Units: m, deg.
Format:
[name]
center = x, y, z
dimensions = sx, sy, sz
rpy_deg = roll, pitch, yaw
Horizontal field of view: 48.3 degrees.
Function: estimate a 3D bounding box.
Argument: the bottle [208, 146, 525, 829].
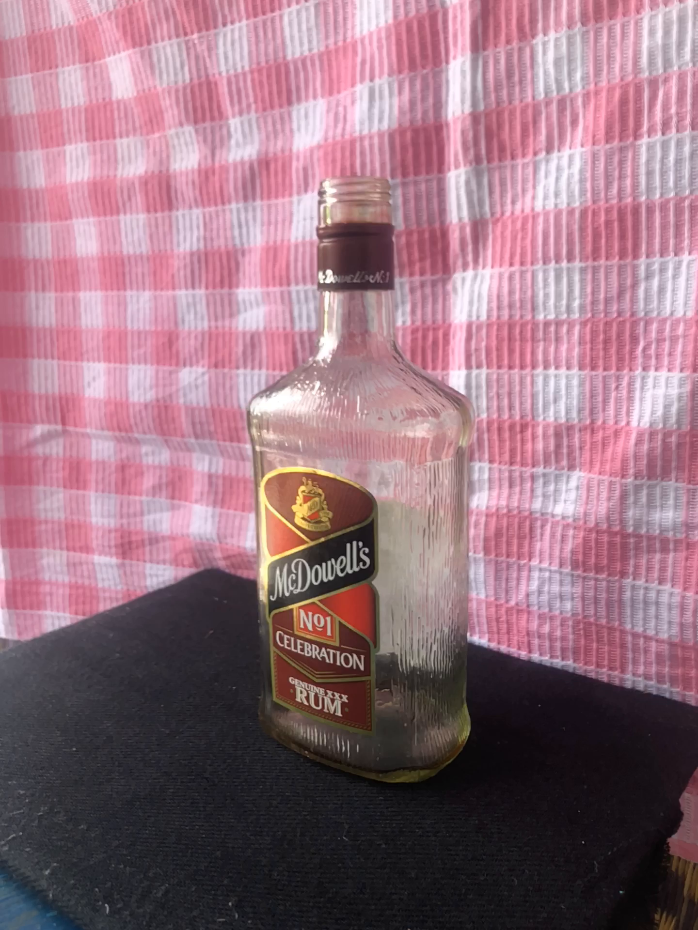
[bottle]
center = 0.008, 0.007, 0.314
dimensions = 0.100, 0.239, 0.060
rpy_deg = 8, 16, 32
